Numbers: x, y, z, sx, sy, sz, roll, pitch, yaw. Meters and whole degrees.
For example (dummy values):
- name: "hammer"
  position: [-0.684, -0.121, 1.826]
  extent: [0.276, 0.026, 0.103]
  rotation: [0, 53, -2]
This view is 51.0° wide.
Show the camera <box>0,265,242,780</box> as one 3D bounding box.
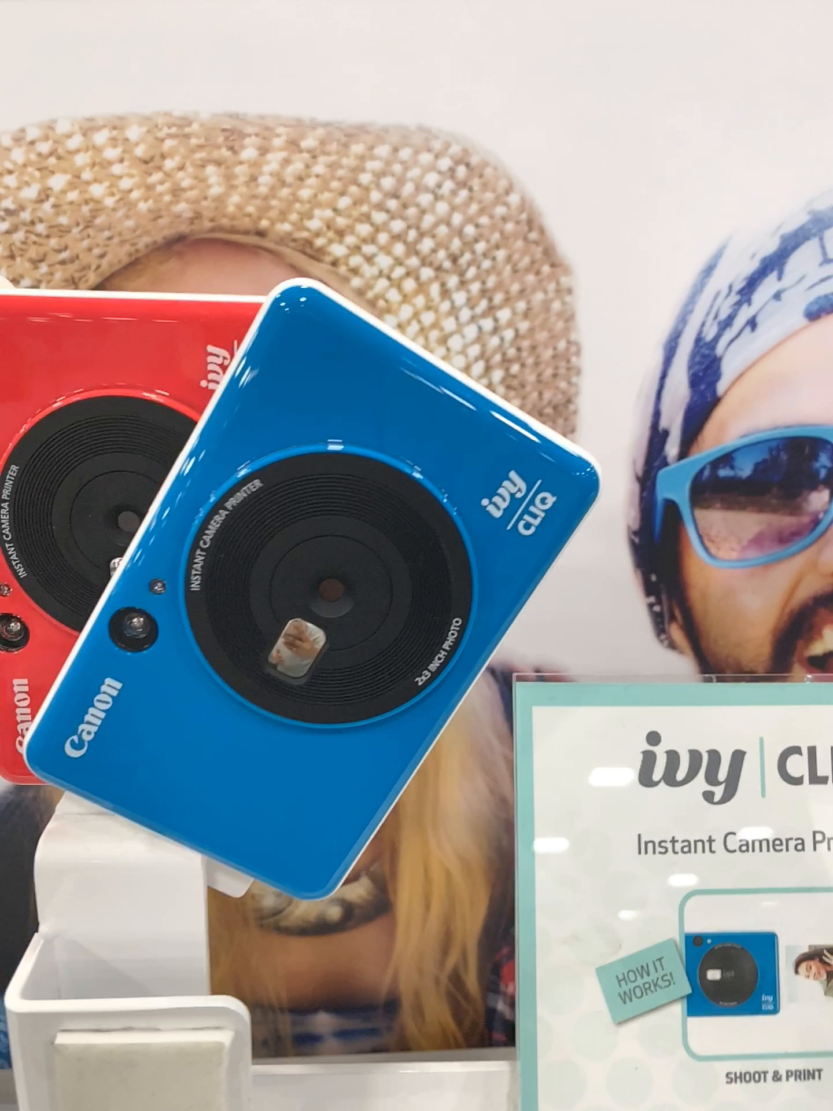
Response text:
- name: "camera"
  position: [-0.112, -0.005, 0.240]
  extent: [0.068, 0.123, 0.030]
  rotation: [-24, 22, 11]

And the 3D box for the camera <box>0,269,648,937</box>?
- name: "camera"
  position: [-0.021, 0.013, 0.182]
  extent: [0.077, 0.114, 0.030]
  rotation: [30, 13, -14]

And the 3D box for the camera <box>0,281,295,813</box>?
- name: "camera"
  position: [-0.066, 0.000, 0.211]
  extent: [0.067, 0.123, 0.030]
  rotation: [2, 20, 0]
